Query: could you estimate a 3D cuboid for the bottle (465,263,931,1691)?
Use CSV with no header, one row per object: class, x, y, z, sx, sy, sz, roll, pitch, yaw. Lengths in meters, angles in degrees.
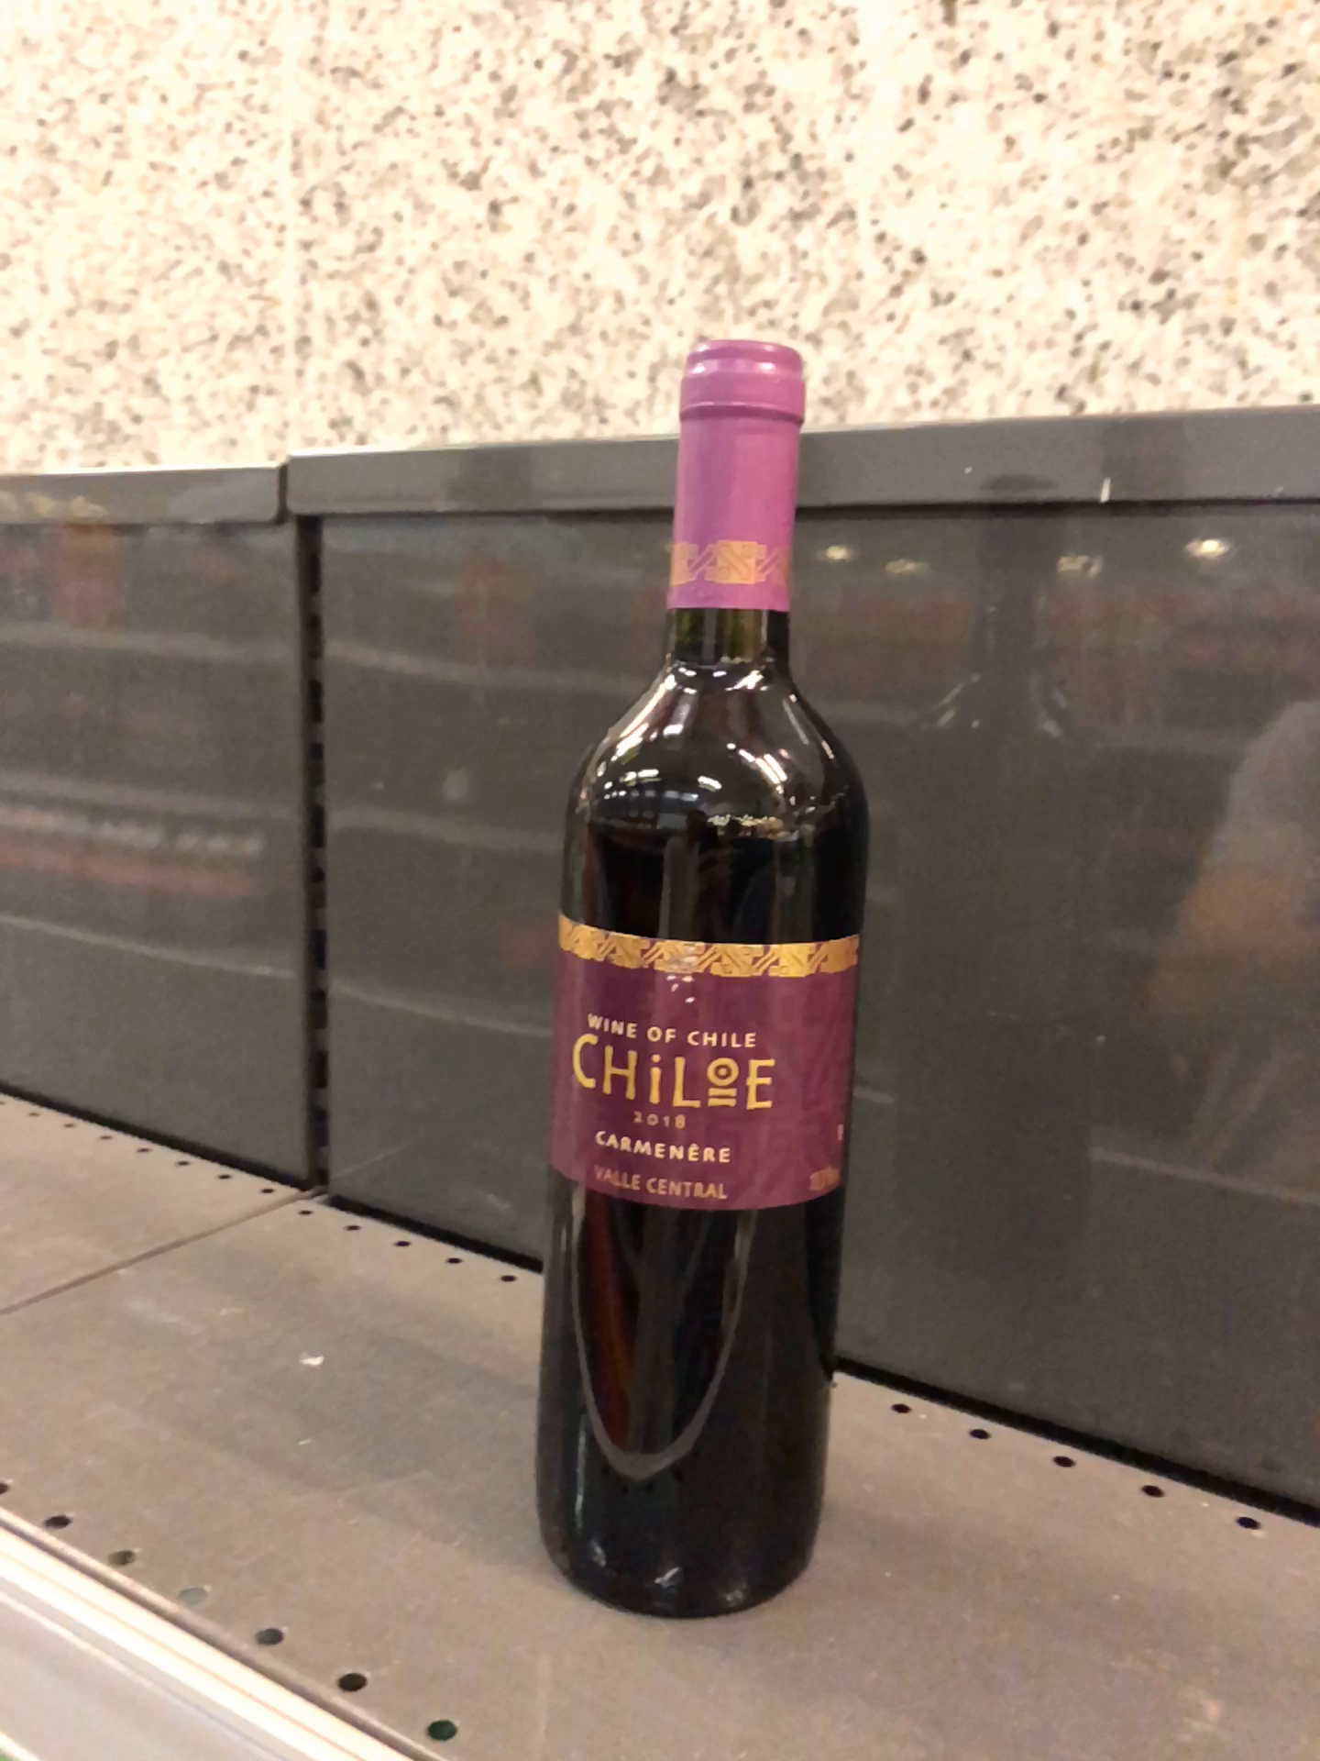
bottle,0.009,0.023,0.370,0.090,0.319,0.080,4,10,17
